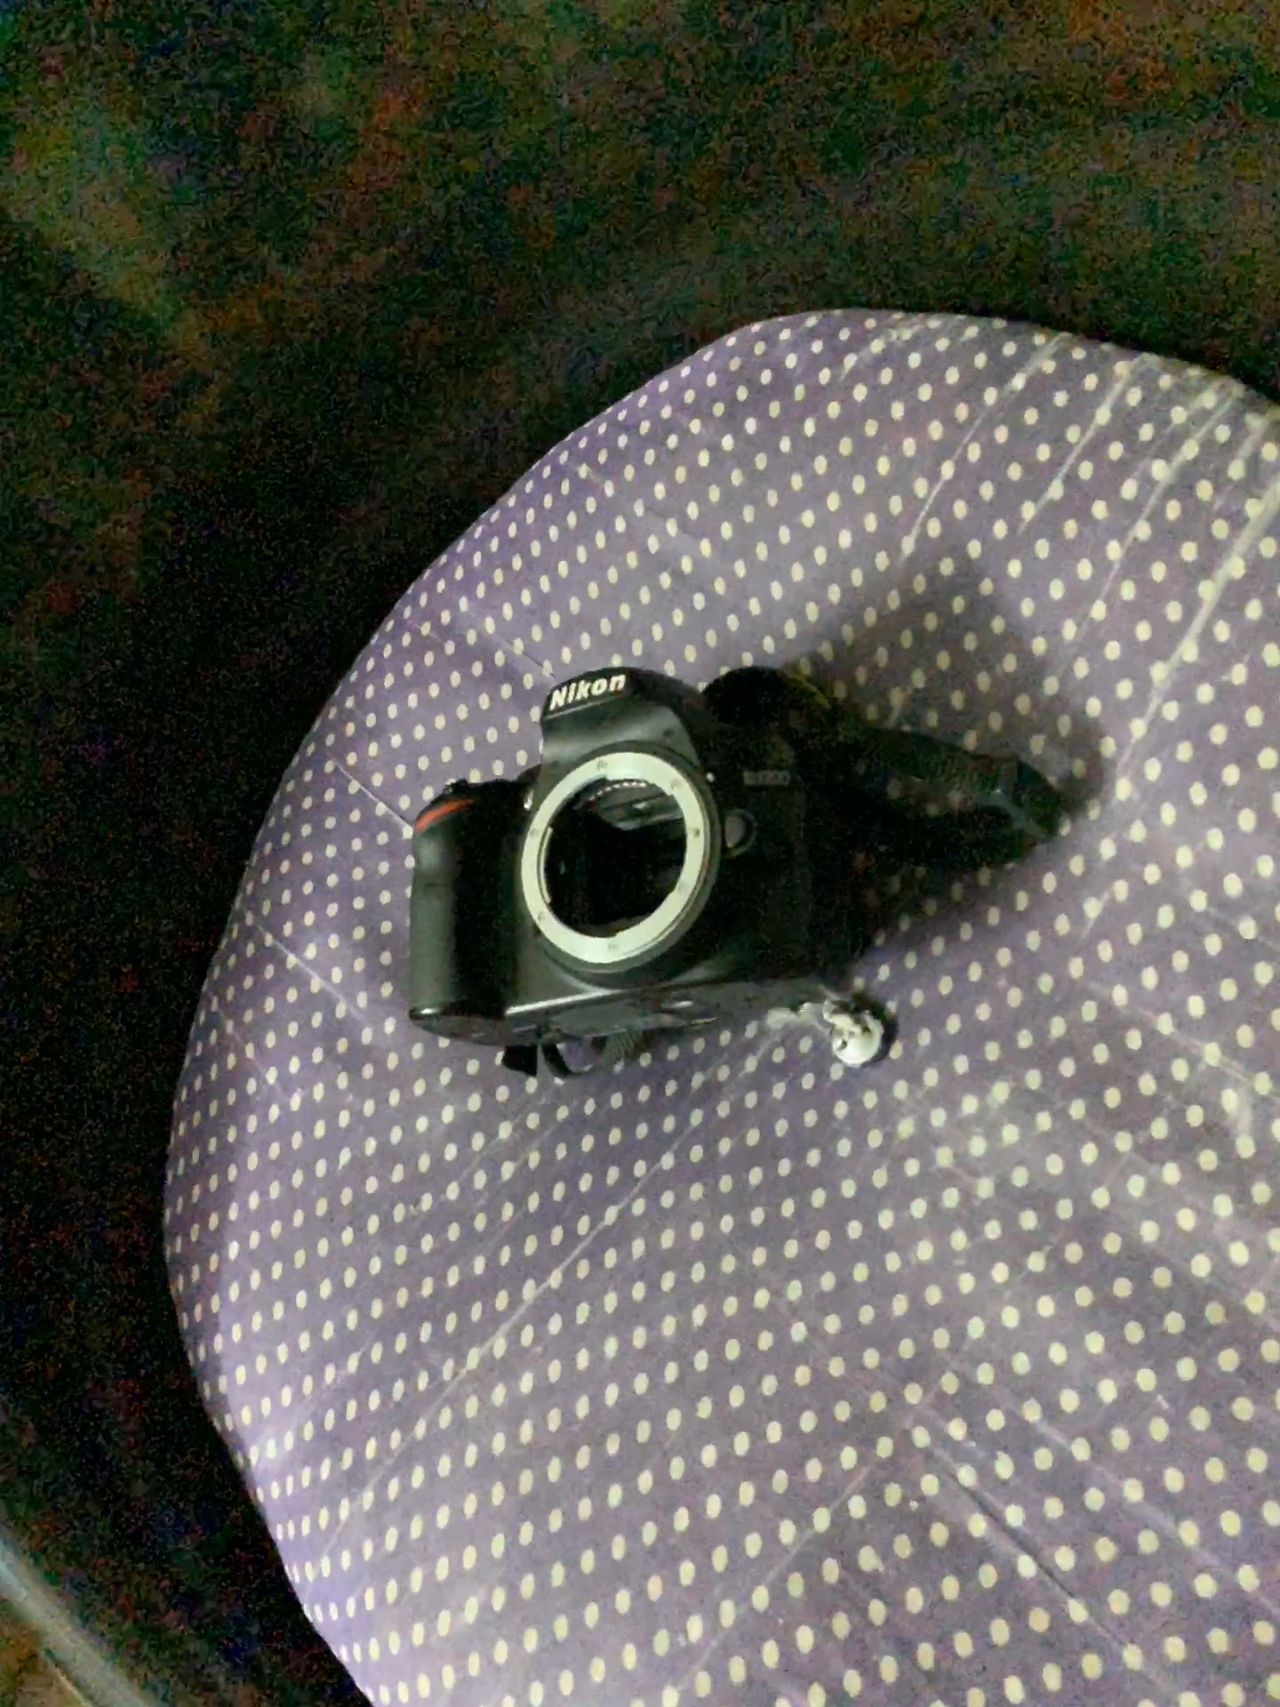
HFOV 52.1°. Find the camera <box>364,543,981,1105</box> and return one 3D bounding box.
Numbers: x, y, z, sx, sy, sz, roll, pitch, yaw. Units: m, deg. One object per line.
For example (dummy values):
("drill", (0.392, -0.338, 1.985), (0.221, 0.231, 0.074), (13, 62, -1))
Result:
("camera", (0.006, 0.002, 0.362), (0.140, 0.080, 0.110), (-14, 70, 25))
